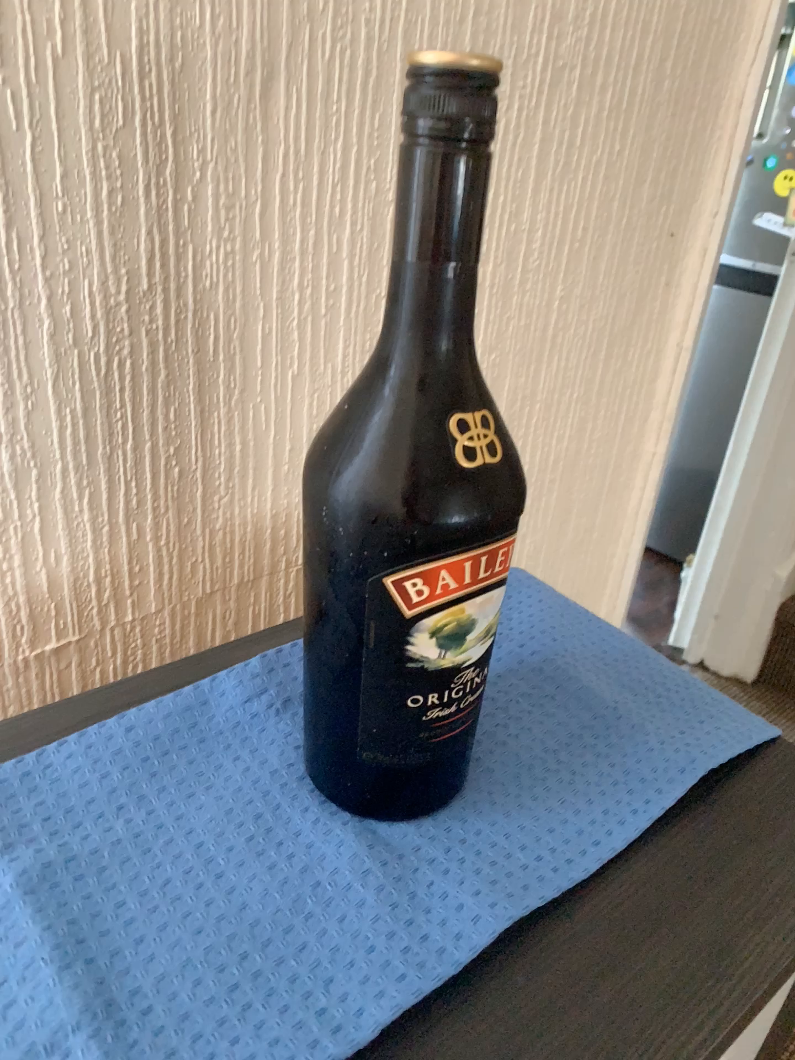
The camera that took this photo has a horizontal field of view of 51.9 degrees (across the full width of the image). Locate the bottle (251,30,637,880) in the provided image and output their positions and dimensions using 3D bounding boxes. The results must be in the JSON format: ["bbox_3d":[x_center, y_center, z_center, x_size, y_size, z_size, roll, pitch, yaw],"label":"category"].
[{"bbox_3d":[0.004,-0.015,0.308,0.090,0.287,0.070,-17,34,-38],"label":"bottle"}]
